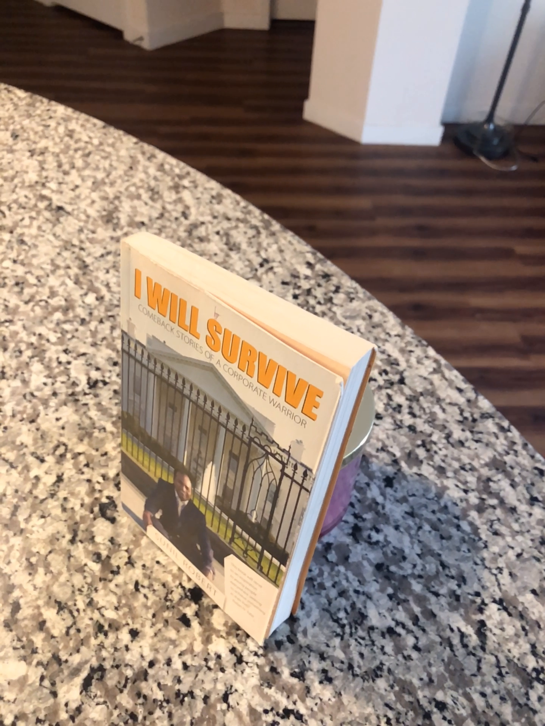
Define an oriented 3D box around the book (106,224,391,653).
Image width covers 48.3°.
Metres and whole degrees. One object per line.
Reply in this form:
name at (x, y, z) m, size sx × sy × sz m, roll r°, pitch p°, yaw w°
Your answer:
book at (-0.030, 0.046, 0.315) m, size 0.134 × 0.191 × 0.032 m, roll 32°, pitch 41°, yaw 25°
